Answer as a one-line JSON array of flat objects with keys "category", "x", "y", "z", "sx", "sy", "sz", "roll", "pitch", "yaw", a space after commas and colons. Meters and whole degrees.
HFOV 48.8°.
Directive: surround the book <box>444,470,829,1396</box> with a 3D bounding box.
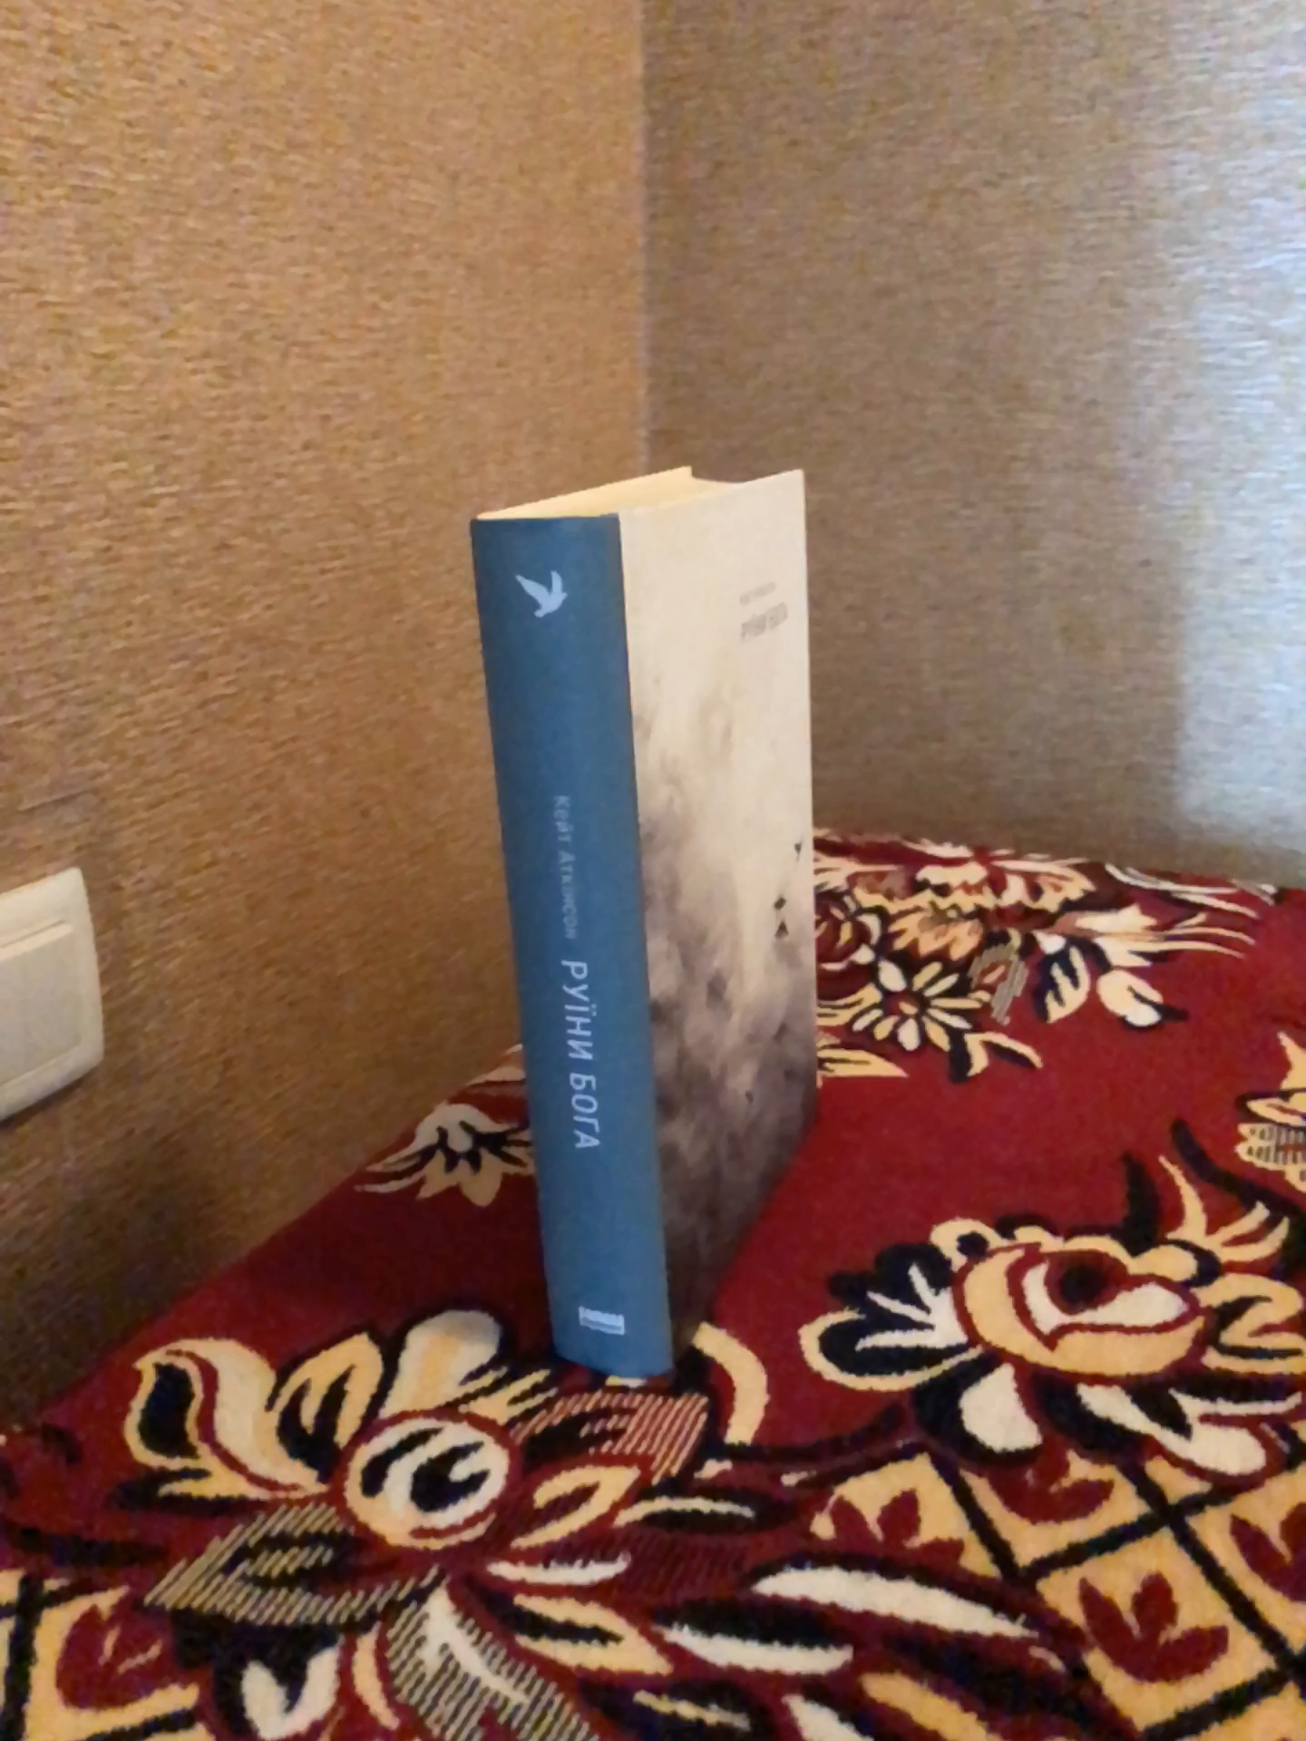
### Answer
[{"category": "book", "x": 0.007, "y": 0.004, "z": 0.394, "sx": 0.040, "sy": 0.210, "sz": 0.151, "roll": 3, "pitch": 18, "yaw": 21}]
